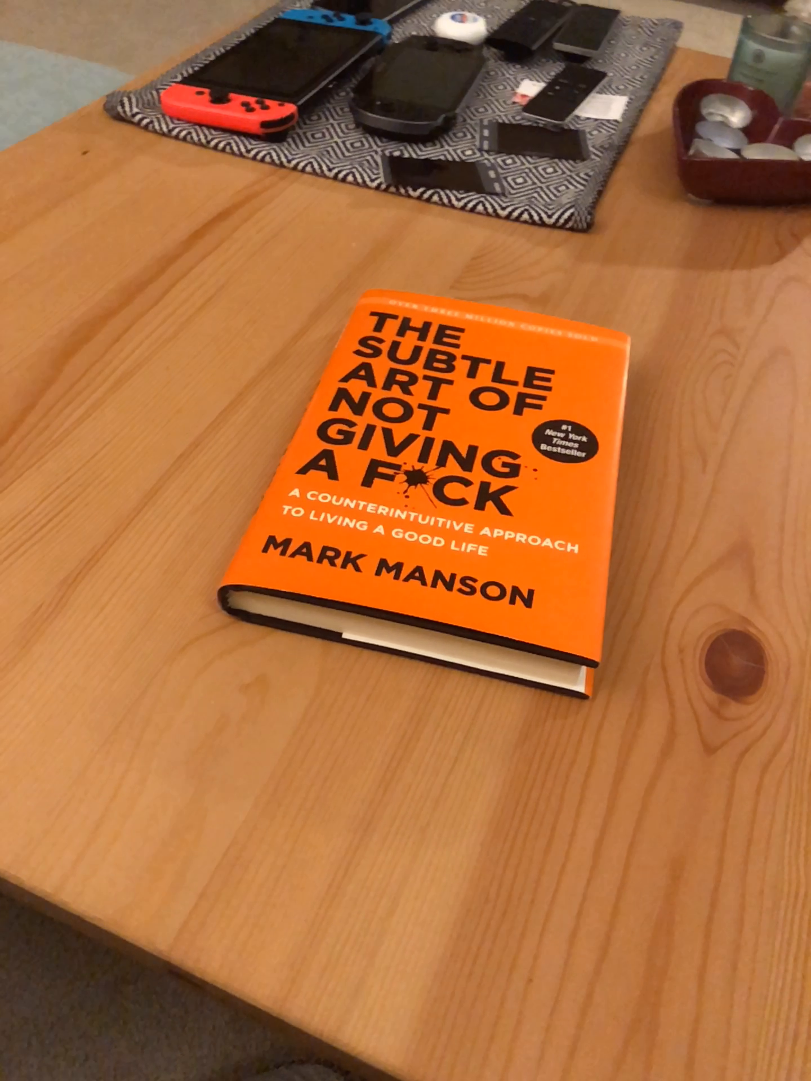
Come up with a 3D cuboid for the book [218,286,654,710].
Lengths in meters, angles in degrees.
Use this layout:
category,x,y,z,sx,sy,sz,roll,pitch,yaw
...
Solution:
category,x,y,z,sx,sy,sz,roll,pitch,yaw
book,0.029,-0.038,0.432,0.160,0.030,0.221,12,49,8
